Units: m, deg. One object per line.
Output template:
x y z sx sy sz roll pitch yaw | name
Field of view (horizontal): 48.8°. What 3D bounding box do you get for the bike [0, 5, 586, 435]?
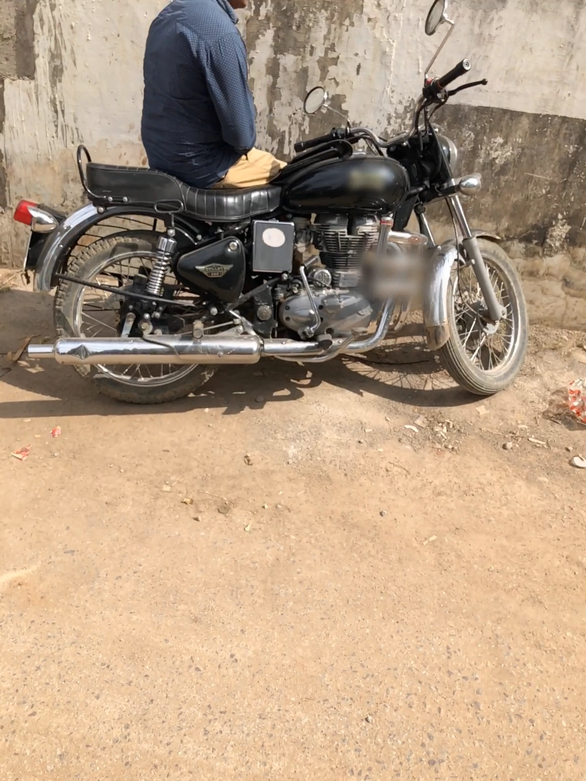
0.056 -0.735 2.577 1.934 1.317 0.885 -4 33 -13 | bike
